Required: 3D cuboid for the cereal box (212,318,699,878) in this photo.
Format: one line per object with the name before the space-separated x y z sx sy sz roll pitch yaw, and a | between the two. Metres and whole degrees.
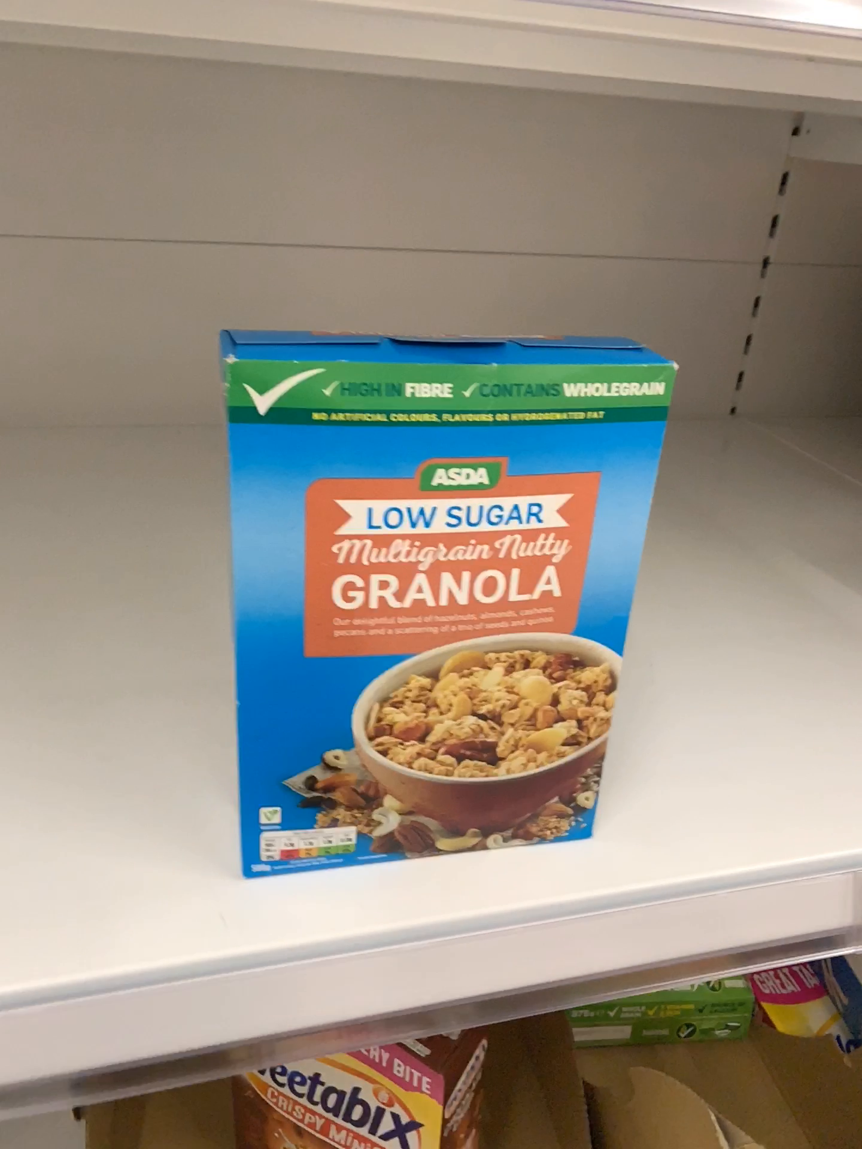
cereal box | 0.000 0.015 0.416 0.190 0.248 0.060 -2 27 -14
